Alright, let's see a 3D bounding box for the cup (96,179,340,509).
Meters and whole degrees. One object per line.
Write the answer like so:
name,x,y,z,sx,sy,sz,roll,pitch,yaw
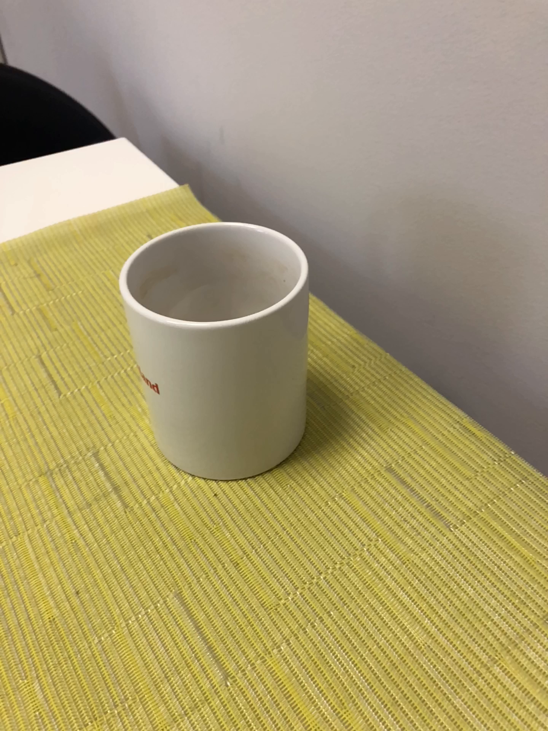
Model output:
cup,-0.031,-0.015,0.297,0.089,0.100,0.114,-8,42,-9
